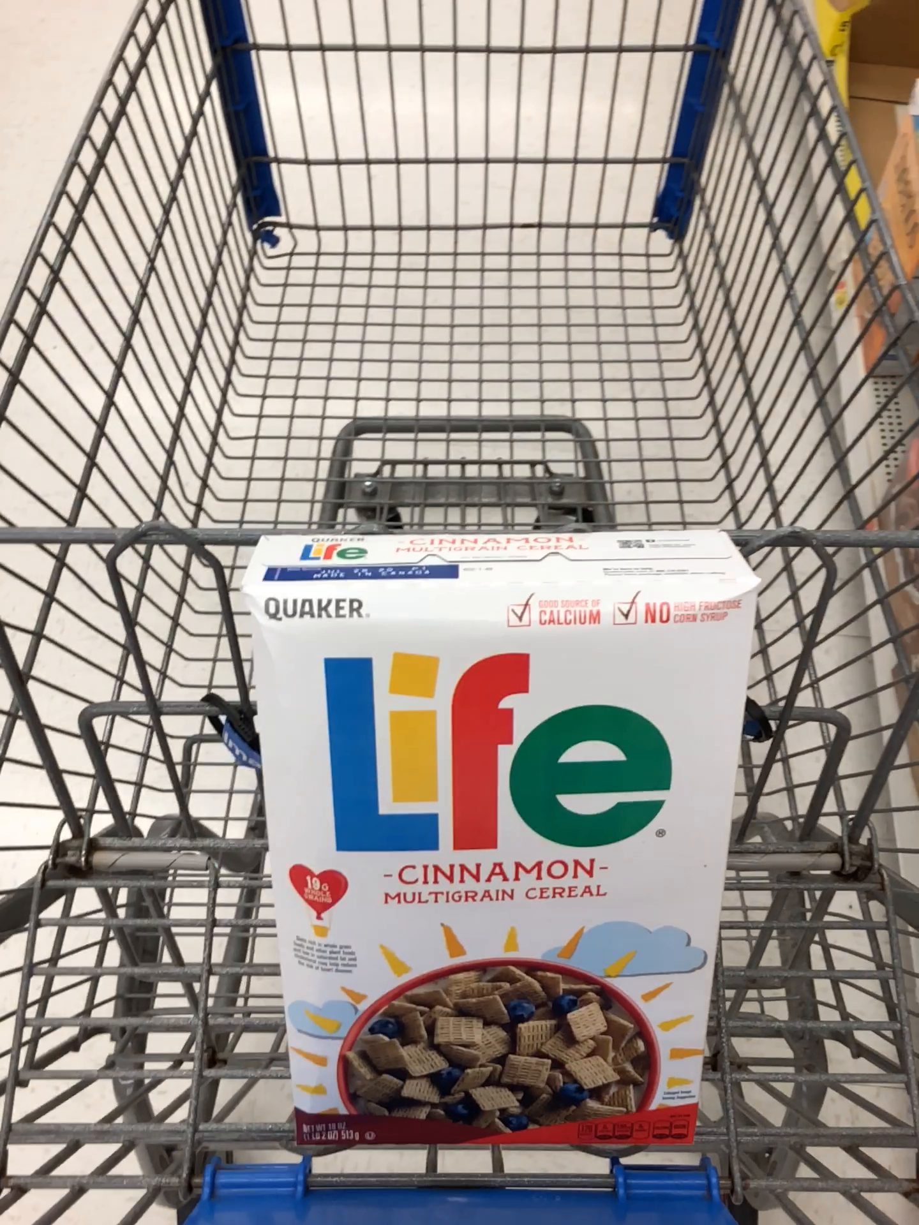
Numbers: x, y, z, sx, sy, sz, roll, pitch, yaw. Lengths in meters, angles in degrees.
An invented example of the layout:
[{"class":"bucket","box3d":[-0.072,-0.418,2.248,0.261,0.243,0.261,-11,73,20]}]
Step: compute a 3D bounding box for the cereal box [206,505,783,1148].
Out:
[{"class":"cereal box","box3d":[0.015,0.100,0.437,0.200,0.280,0.070,-1,23,2]}]
